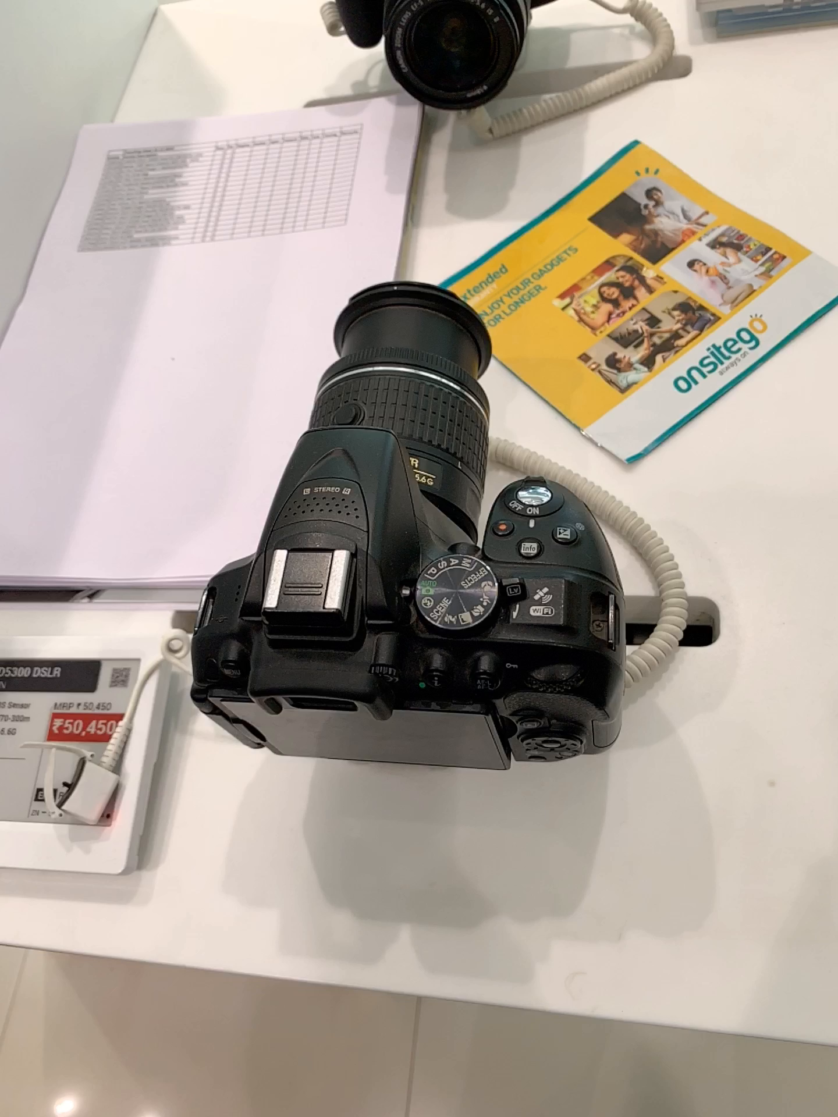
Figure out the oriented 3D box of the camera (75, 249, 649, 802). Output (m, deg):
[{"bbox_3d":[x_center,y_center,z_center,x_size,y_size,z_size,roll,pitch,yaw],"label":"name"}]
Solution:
[{"bbox_3d":[0.000,-0.004,0.238,0.118,0.100,0.107,1,62,14],"label":"camera"}]
